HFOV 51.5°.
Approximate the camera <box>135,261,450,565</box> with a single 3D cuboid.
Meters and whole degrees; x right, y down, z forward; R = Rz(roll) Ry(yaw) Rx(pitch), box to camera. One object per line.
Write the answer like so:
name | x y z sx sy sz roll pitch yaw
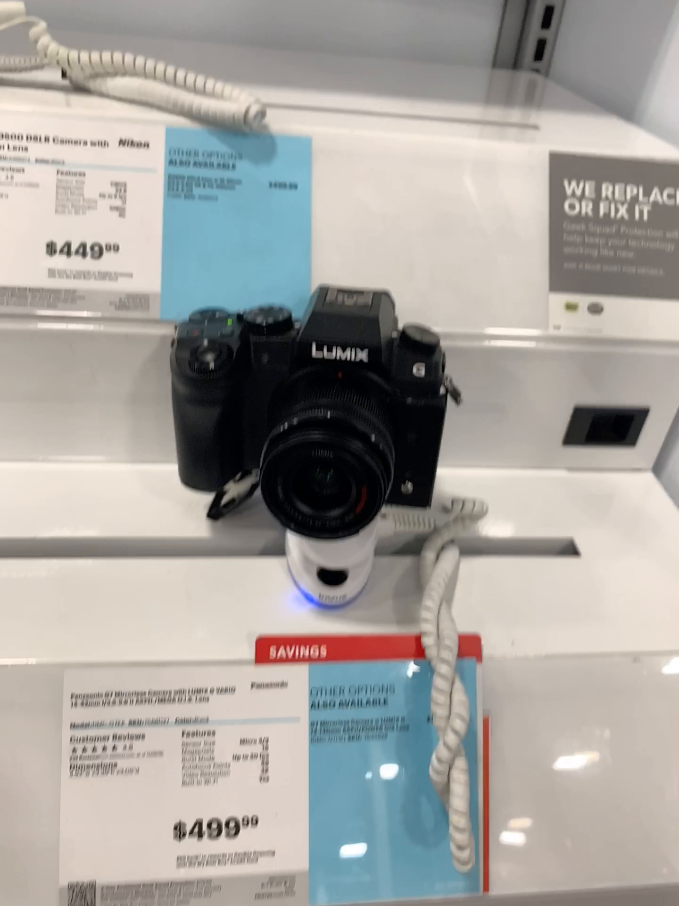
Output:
camera | -0.015 -0.024 0.331 0.118 0.080 0.115 7 36 2
